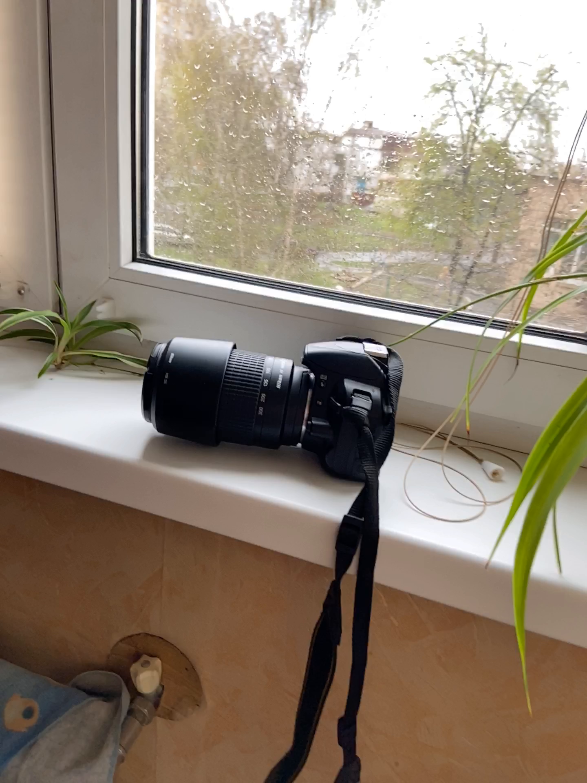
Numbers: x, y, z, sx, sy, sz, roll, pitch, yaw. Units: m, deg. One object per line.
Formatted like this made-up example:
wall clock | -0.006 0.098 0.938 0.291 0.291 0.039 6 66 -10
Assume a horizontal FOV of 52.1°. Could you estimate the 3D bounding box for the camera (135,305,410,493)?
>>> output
camera | -0.016 0.000 0.488 0.190 0.089 0.126 7 22 0
